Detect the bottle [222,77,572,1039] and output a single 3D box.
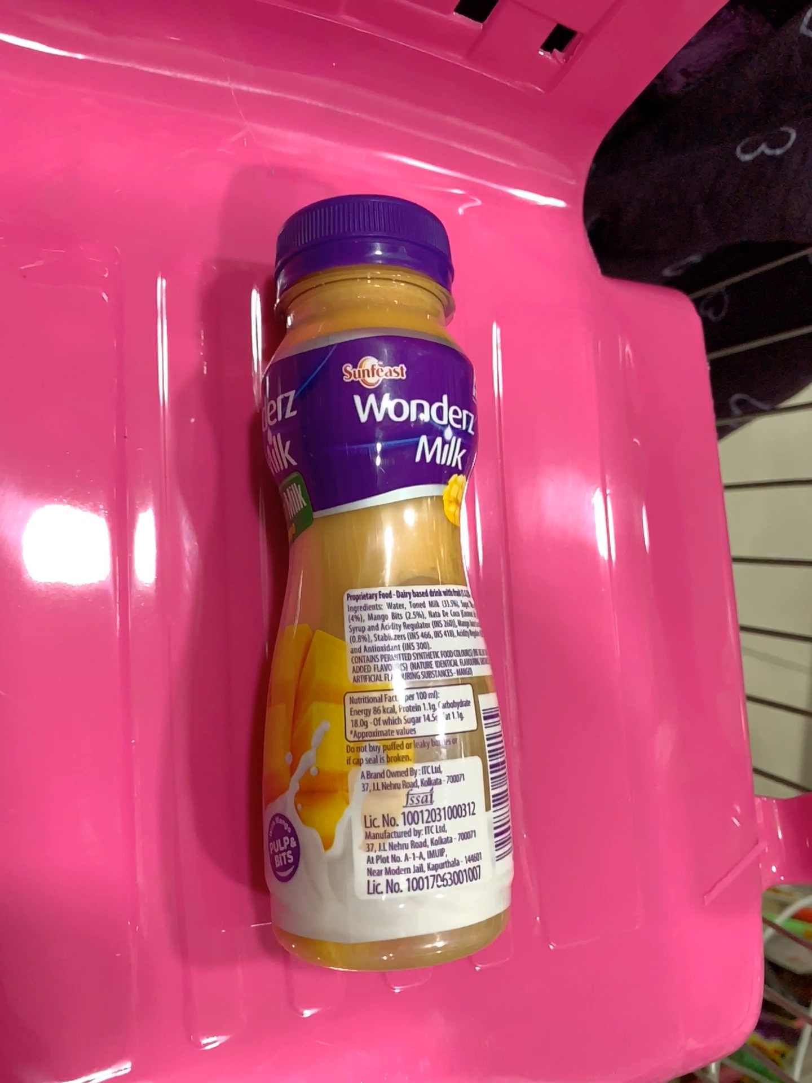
[{"bbox_3d":[-0.005,0.002,0.175,0.050,0.050,0.160,0,85,-28],"label":"bottle"}]
